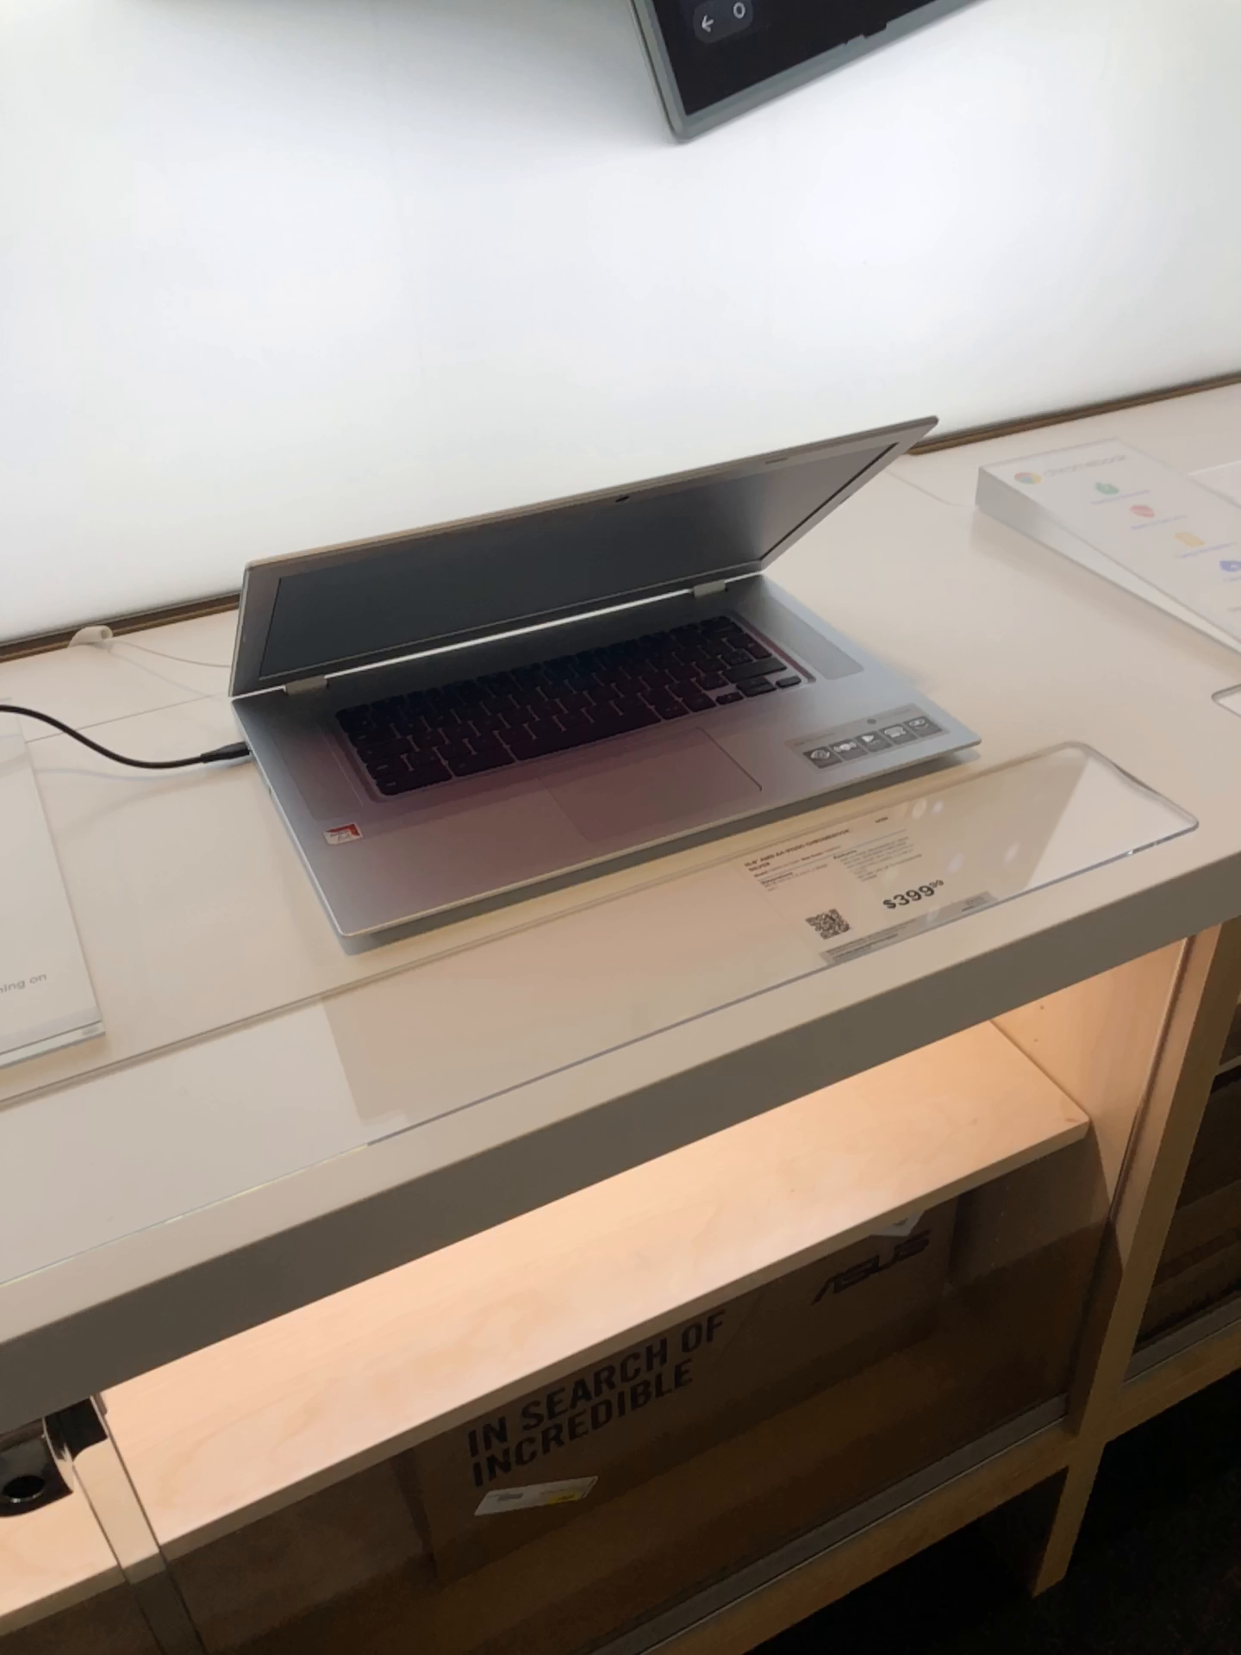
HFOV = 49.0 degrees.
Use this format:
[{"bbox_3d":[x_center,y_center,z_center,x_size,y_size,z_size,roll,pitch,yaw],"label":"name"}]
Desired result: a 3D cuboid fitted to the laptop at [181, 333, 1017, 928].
[{"bbox_3d":[-0.020,-0.134,0.761,0.368,0.166,0.256,-17,37,-19],"label":"laptop"}]
